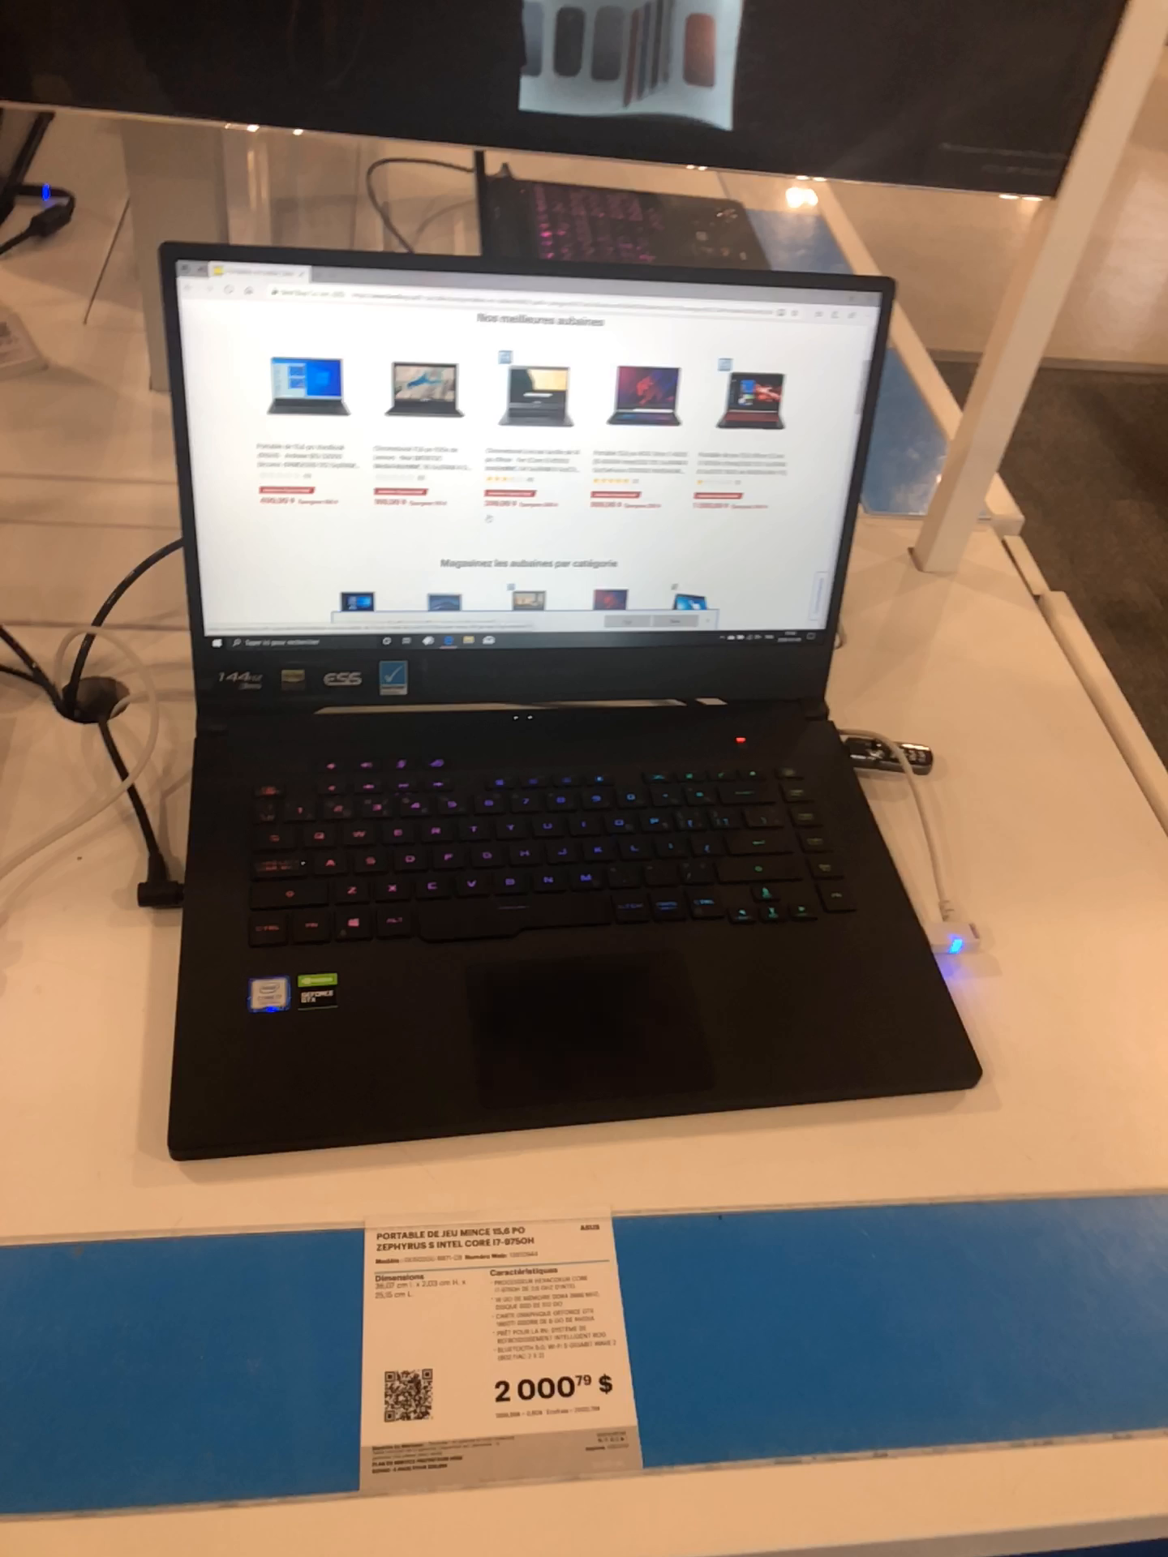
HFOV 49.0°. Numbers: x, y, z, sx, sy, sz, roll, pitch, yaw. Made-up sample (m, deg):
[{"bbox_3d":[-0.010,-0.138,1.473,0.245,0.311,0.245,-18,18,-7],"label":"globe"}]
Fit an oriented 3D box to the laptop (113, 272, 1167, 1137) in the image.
[{"bbox_3d":[0.000,-0.049,0.571,0.340,0.207,0.316,-1,46,-10],"label":"laptop"}]
